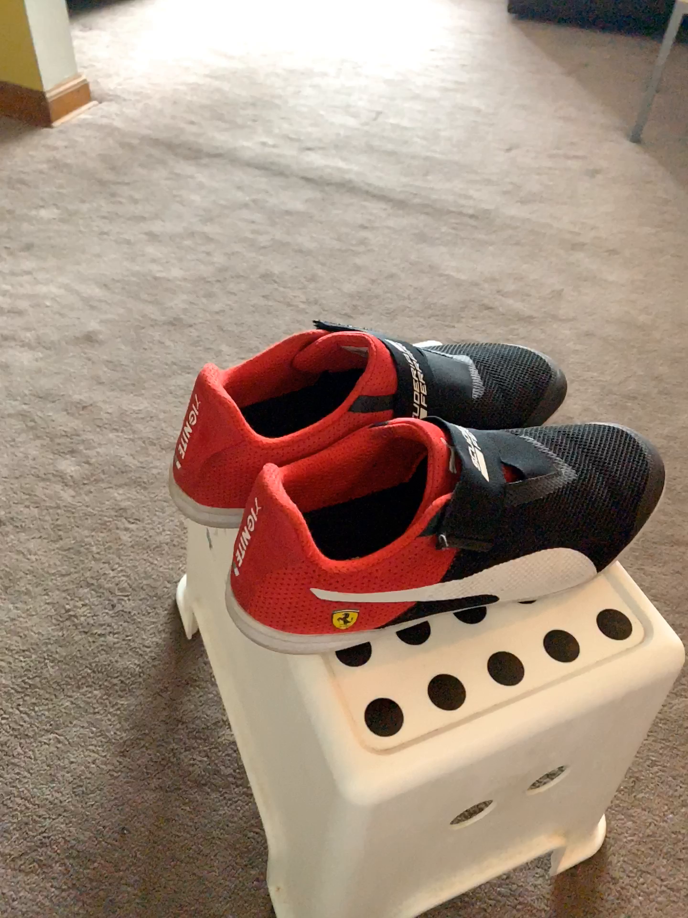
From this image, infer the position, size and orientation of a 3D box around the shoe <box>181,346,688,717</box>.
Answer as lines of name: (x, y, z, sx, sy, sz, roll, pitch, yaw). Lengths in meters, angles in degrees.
shoe: (0.068, 0.032, 0.425, 0.301, 0.099, 0.101, -16, 50, -19)

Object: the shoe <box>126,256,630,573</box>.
shoe: (0.024, -0.041, 0.480, 0.301, 0.099, 0.111, -16, 50, -19)
